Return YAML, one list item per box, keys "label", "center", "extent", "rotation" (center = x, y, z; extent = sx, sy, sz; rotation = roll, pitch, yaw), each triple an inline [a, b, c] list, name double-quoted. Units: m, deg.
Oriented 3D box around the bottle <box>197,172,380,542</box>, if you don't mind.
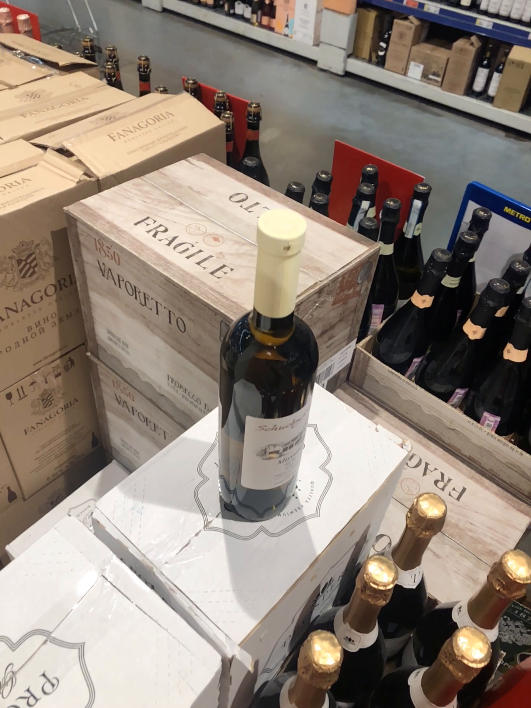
- label: "bottle"
  center: [0.004, 0.022, 0.441]
  extent: [0.080, 0.288, 0.073]
  rotation: [-25, 52, -28]
